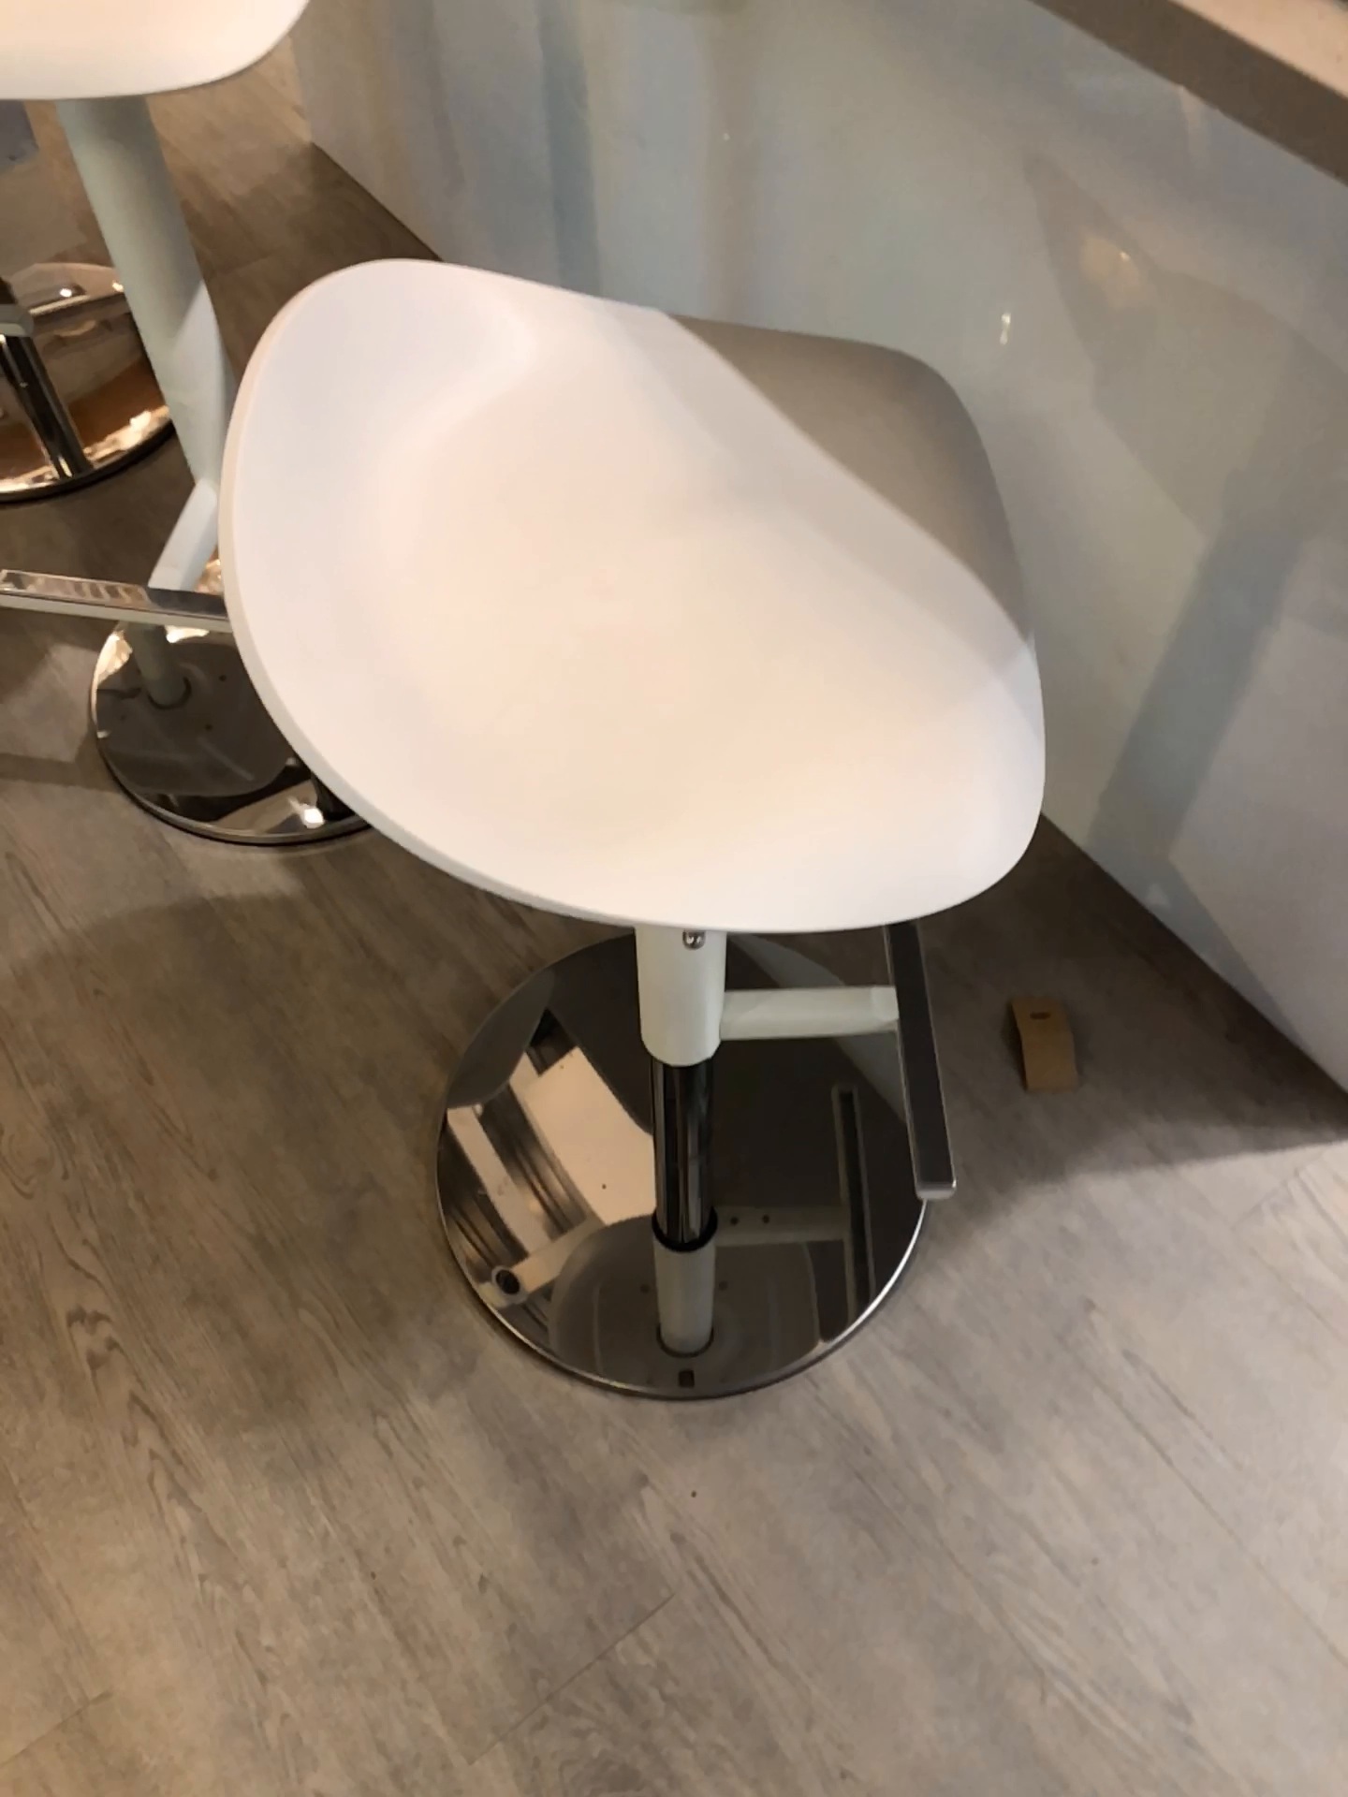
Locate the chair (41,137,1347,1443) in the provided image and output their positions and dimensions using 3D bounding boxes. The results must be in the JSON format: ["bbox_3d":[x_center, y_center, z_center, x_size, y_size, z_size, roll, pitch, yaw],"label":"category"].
[{"bbox_3d":[-0.003,0.012,0.915,0.440,0.716,0.442,-4,58,-2],"label":"chair"}]
